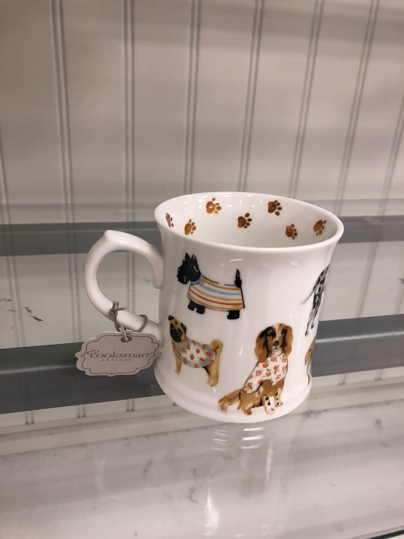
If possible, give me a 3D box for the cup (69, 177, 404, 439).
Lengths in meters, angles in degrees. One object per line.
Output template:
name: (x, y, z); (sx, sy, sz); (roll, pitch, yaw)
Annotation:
cup: (0.011, 0.012, 0.225); (0.125, 0.089, 0.101); (2, 23, -4)
